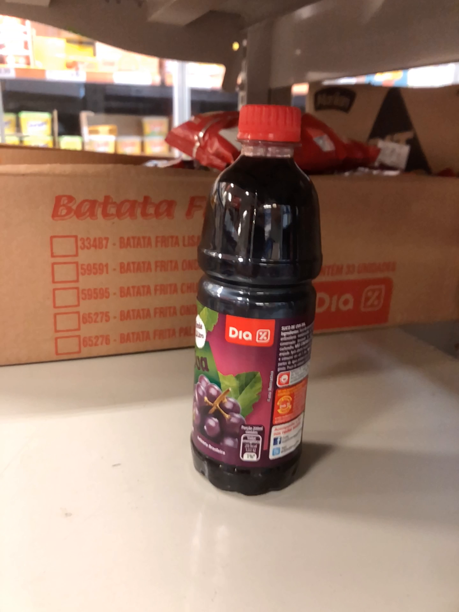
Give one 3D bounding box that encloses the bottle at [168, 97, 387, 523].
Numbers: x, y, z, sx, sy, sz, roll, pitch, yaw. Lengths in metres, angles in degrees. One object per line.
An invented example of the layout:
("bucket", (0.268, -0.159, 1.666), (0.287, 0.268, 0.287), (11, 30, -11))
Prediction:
("bottle", (0.020, -0.003, 0.277), (0.070, 0.199, 0.080), (-12, 22, -33))
